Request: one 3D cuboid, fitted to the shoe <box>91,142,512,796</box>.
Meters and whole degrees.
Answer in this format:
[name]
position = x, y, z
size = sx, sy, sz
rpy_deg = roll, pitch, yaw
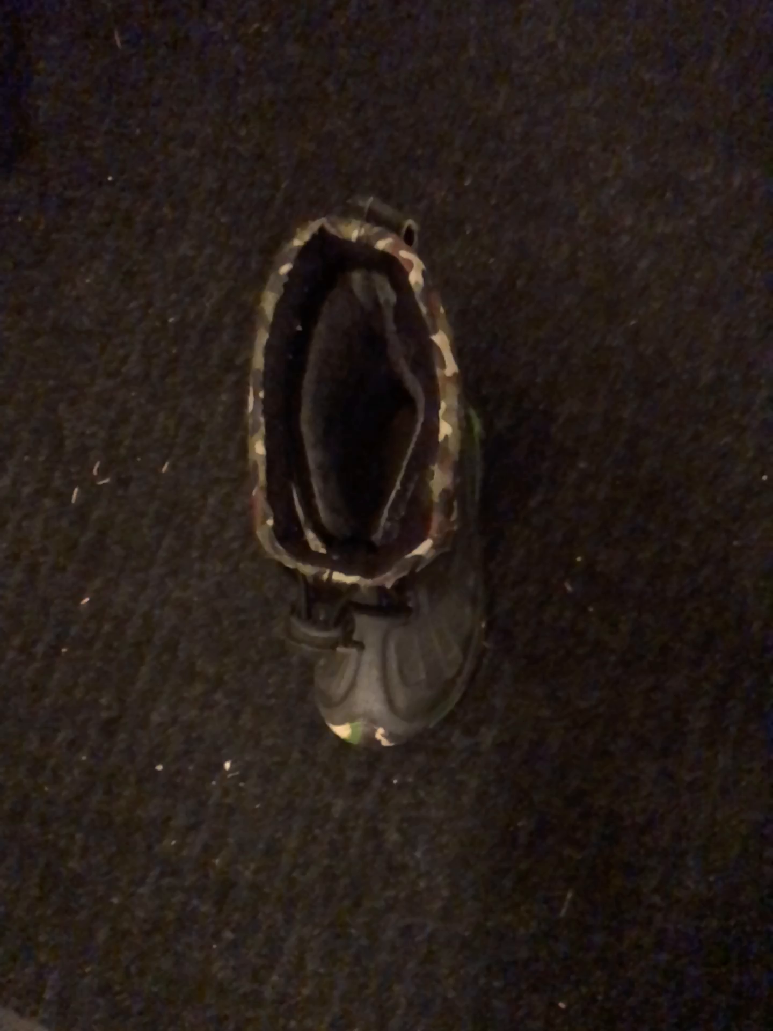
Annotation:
[shoe]
position = -0.009, -0.003, 0.368
size = 0.100, 0.210, 0.200
rpy_deg = 6, 79, 10
